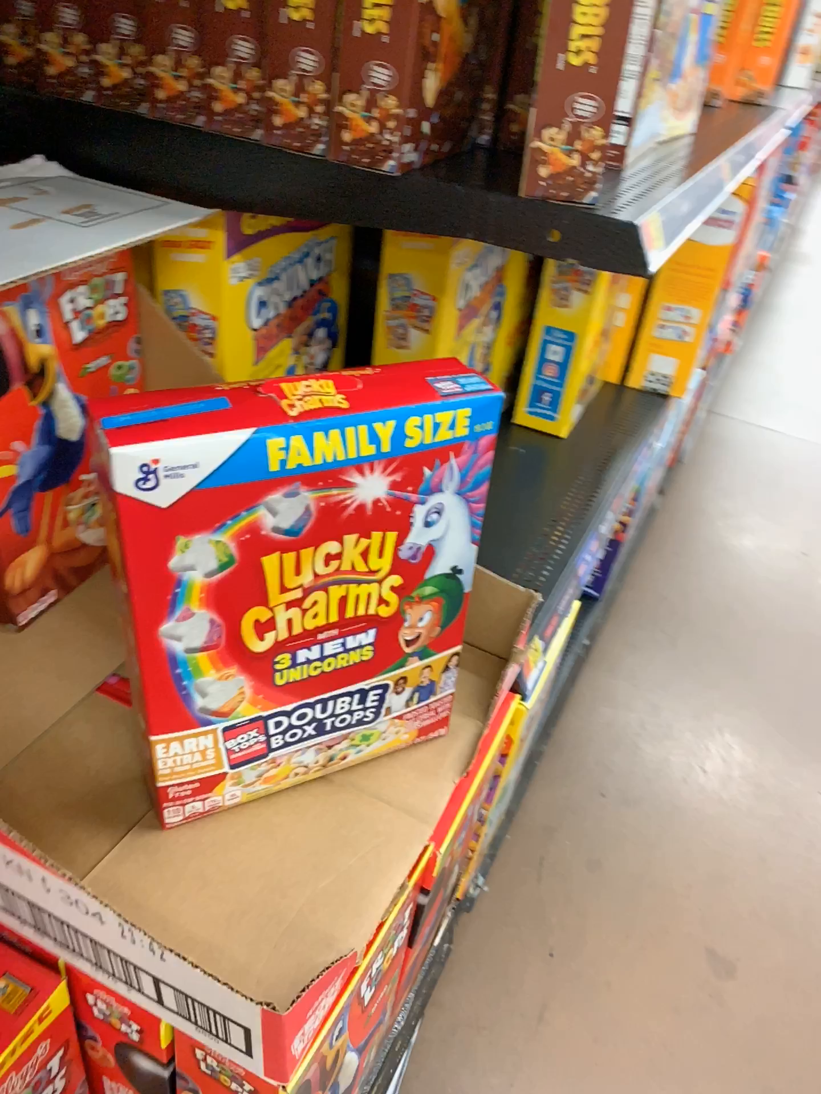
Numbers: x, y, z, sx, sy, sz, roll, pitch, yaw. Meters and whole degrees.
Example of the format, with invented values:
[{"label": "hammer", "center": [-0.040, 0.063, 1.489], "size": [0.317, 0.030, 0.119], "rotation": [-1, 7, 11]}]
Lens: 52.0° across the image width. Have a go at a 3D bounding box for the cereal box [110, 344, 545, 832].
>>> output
[{"label": "cereal box", "center": [-0.051, 0.031, 0.541], "size": [0.230, 0.288, 0.060], "rotation": [-14, 40, -25]}]
